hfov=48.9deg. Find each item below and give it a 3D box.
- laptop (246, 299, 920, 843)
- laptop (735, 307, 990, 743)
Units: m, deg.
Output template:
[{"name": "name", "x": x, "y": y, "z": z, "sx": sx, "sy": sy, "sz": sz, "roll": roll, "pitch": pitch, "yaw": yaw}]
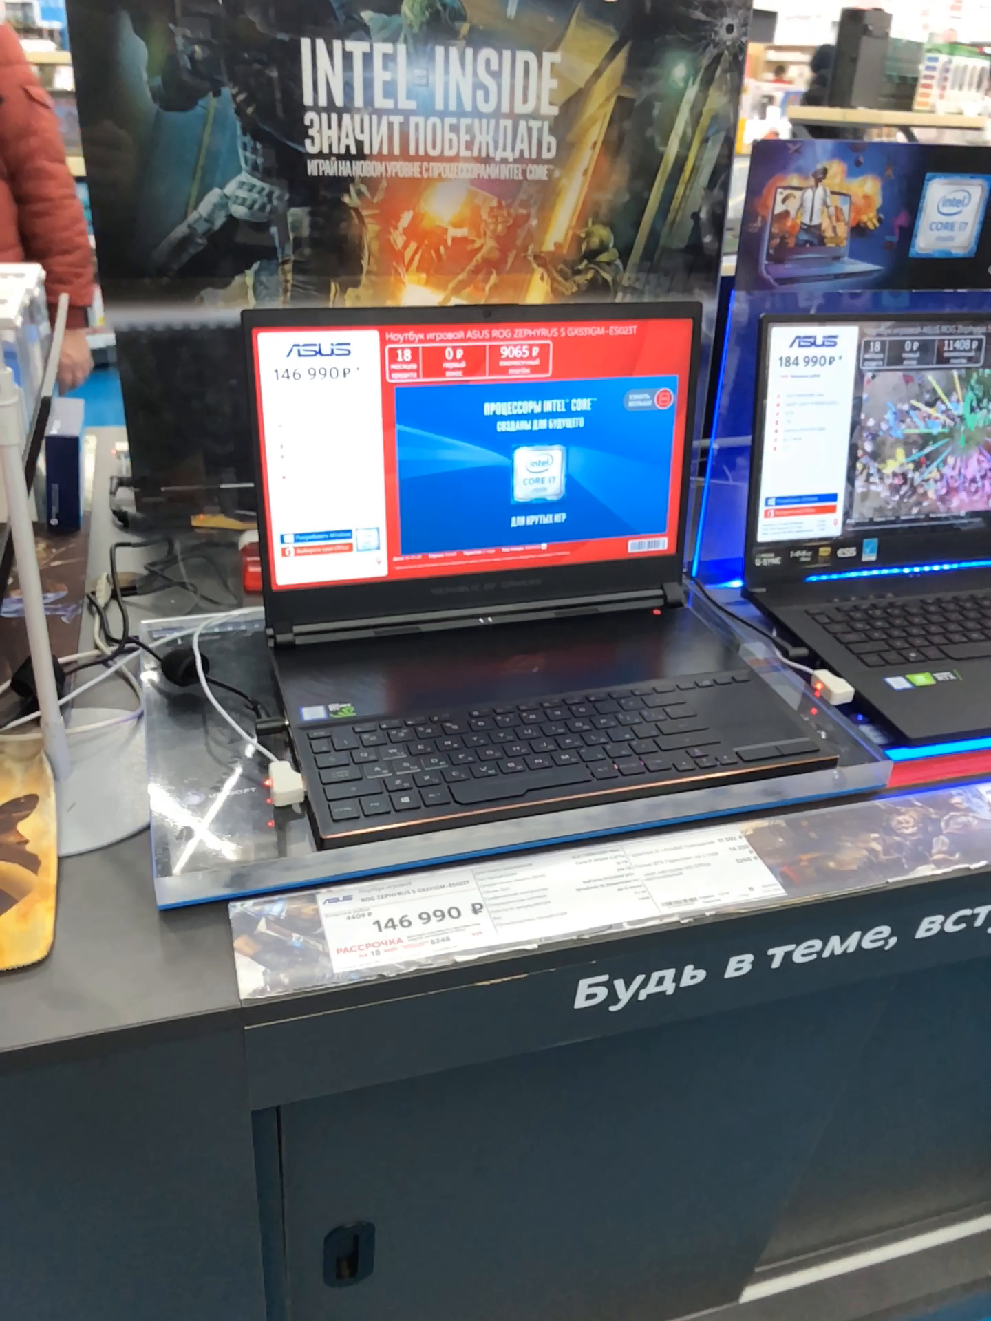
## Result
[{"name": "laptop", "x": 0.030, "y": -0.089, "z": 0.744, "sx": 0.350, "sy": 0.241, "sz": 0.279, "roll": -6, "pitch": 30, "yaw": -17}, {"name": "laptop", "x": 0.428, "y": -0.135, "z": 0.890, "sx": 0.341, "sy": 0.219, "sz": 0.303, "roll": -6, "pitch": 30, "yaw": -14}]
